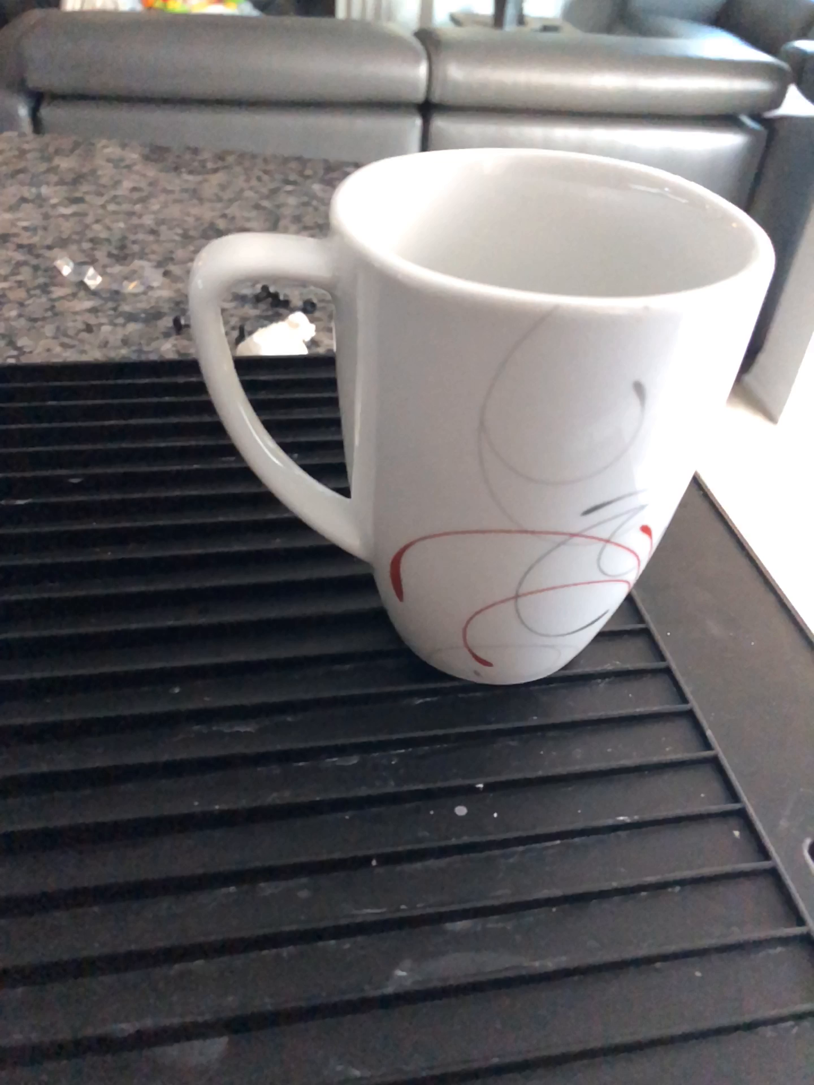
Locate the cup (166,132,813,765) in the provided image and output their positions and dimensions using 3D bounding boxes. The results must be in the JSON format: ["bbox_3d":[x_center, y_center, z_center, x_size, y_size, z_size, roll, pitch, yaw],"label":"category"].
[{"bbox_3d":[0.011,-0.024,0.206,0.116,0.105,0.088,-3,39,-11],"label":"cup"}]
